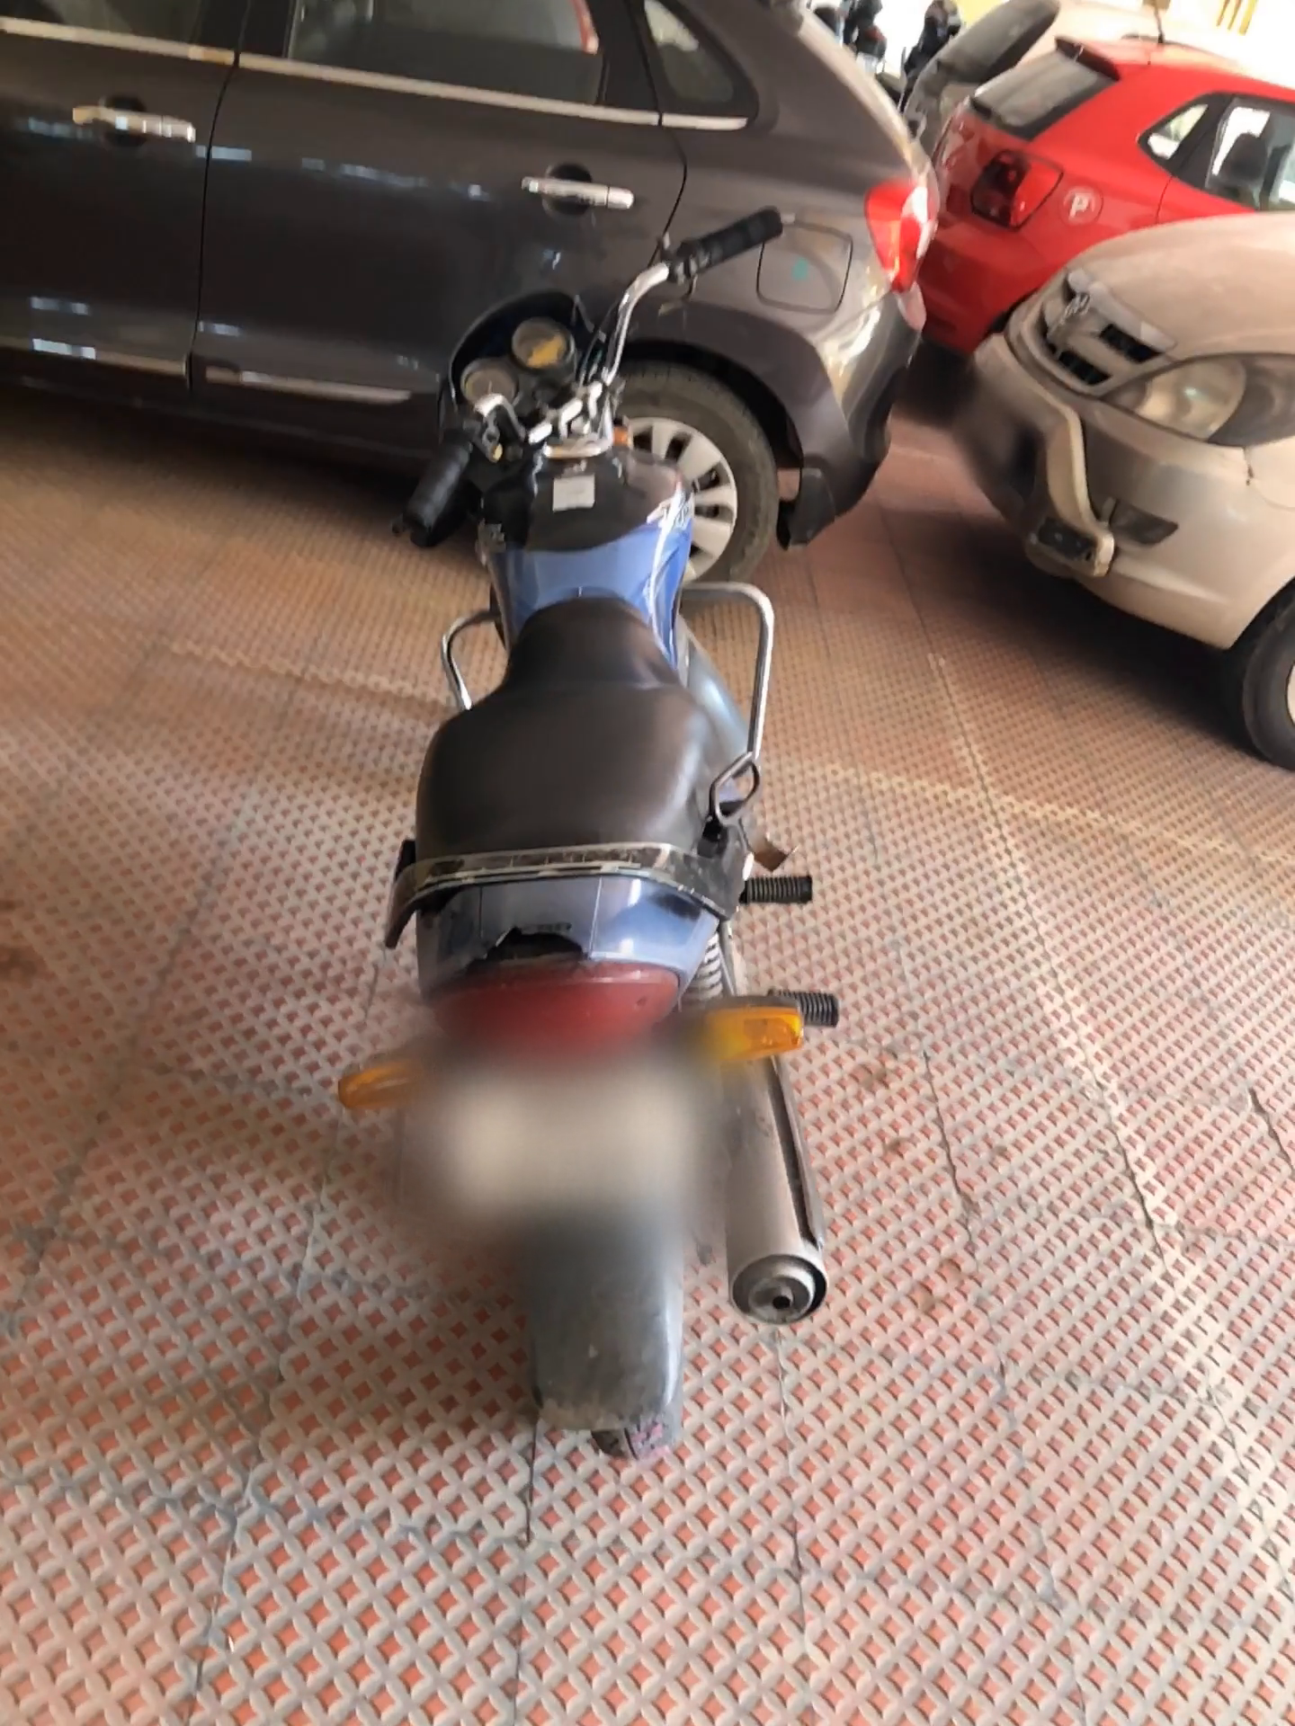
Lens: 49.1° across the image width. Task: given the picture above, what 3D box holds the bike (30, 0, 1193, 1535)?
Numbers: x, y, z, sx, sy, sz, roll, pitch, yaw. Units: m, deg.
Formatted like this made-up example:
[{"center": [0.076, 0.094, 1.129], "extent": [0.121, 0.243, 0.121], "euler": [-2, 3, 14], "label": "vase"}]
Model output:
[{"center": [-0.247, -0.293, 1.816], "extent": [0.733, 1.073, 1.697], "euler": [5, 37, -15], "label": "bike"}]
